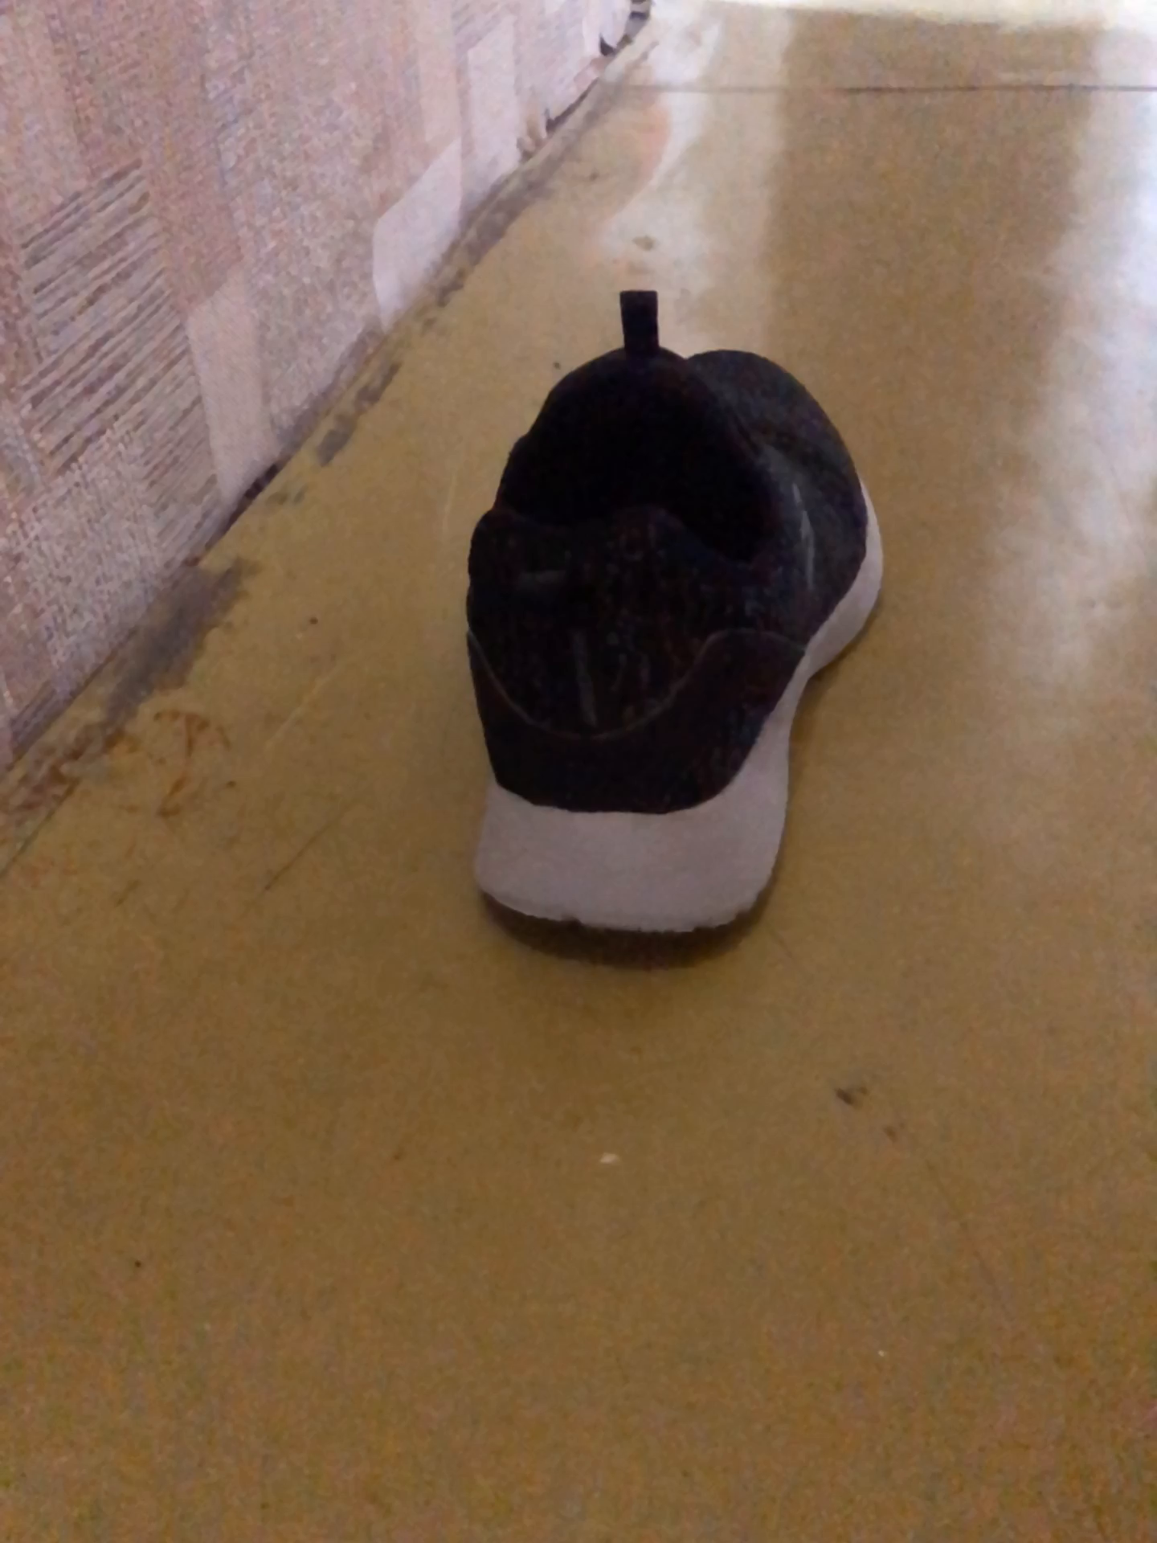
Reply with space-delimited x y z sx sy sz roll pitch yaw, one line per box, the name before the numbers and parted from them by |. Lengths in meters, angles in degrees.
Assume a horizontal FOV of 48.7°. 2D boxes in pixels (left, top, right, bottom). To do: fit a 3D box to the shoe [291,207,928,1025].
shoe | 0.038 -0.085 0.455 0.130 0.119 0.321 9 42 14
